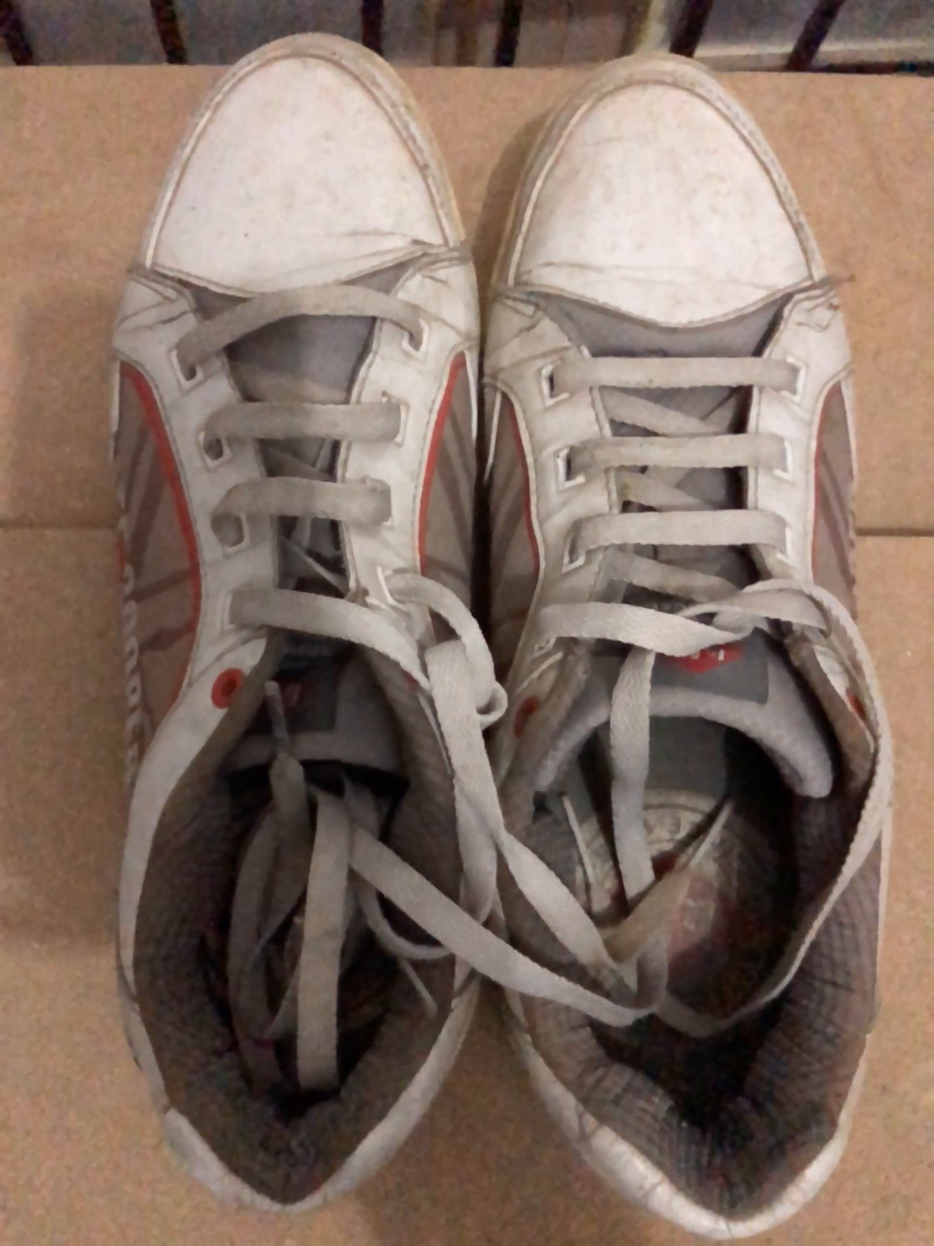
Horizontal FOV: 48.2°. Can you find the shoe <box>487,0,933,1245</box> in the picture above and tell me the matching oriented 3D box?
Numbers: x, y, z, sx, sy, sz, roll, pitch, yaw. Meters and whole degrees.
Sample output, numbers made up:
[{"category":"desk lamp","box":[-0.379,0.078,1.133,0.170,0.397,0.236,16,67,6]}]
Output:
[{"category":"shoe","box":[0.061,-0.008,0.246,0.100,0.080,0.270,0,78,-4]}]

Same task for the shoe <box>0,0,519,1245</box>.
[{"category":"shoe","box":[-0.046,-0.014,0.239,0.100,0.080,0.270,0,78,-4]}]
